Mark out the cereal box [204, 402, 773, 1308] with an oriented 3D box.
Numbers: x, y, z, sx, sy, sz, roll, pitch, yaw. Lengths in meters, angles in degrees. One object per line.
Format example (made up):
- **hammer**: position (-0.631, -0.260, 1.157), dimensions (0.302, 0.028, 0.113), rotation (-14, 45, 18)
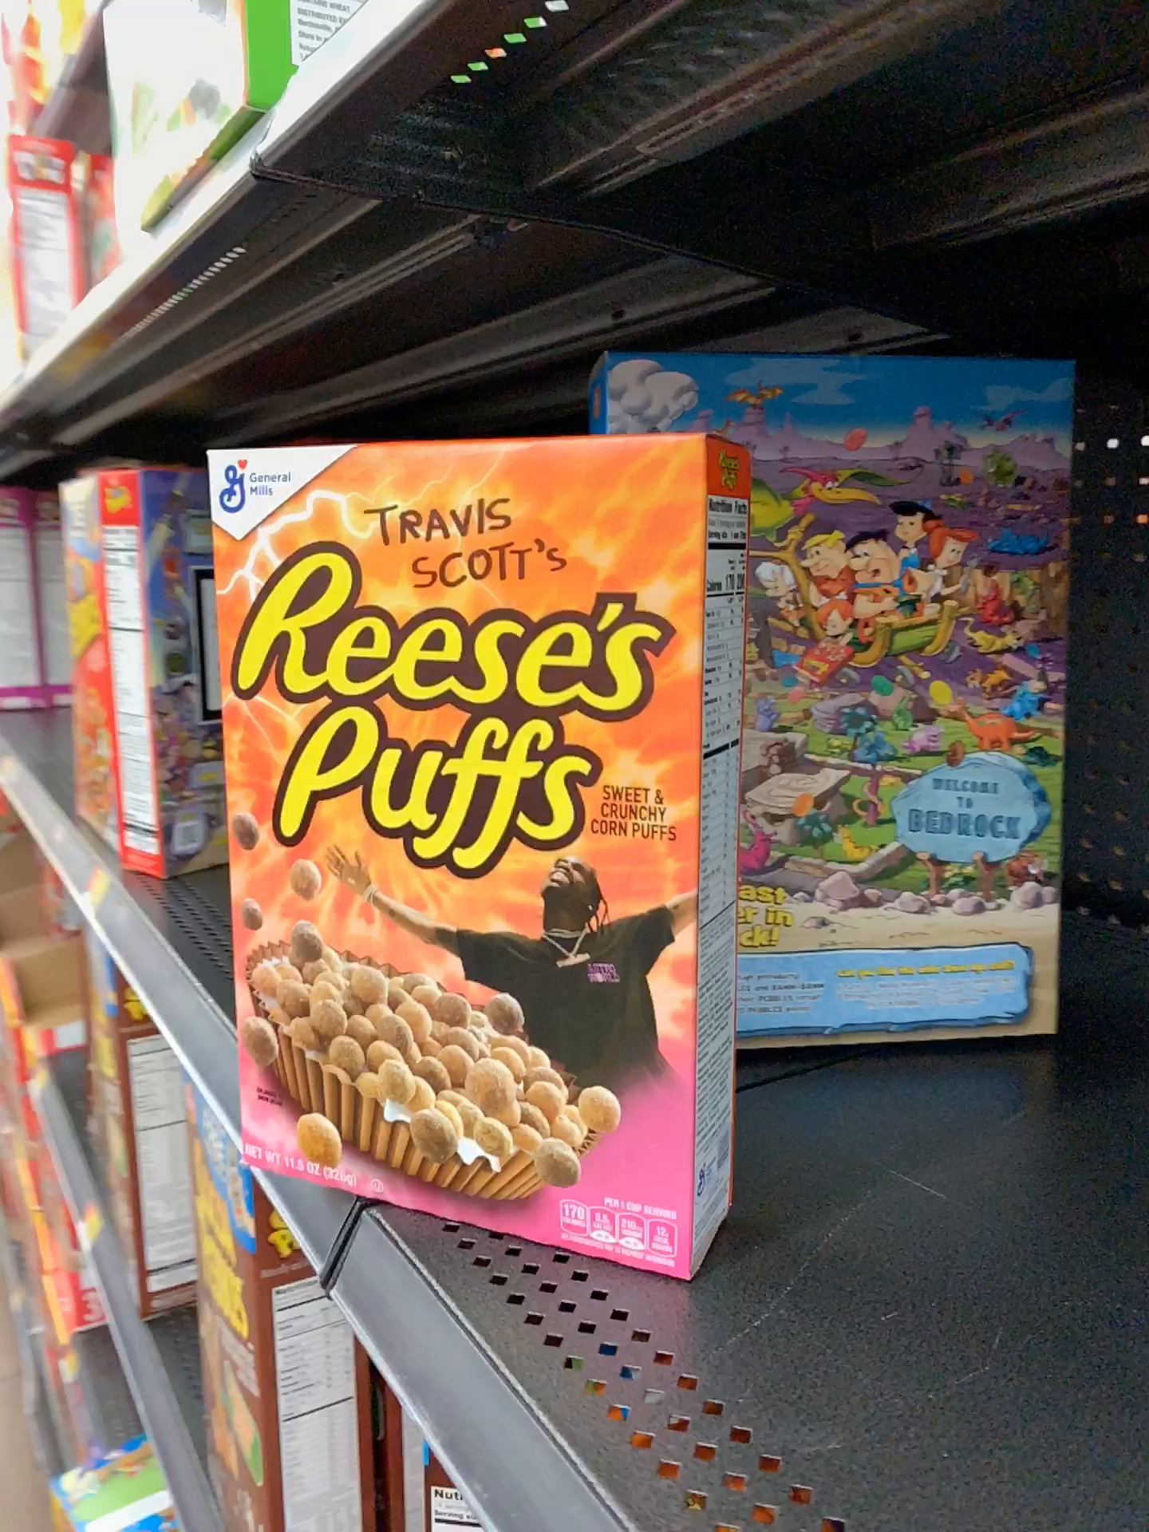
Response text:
- **cereal box**: position (-0.034, 0.026, 0.435), dimensions (0.200, 0.289, 0.050), rotation (4, 9, 25)
